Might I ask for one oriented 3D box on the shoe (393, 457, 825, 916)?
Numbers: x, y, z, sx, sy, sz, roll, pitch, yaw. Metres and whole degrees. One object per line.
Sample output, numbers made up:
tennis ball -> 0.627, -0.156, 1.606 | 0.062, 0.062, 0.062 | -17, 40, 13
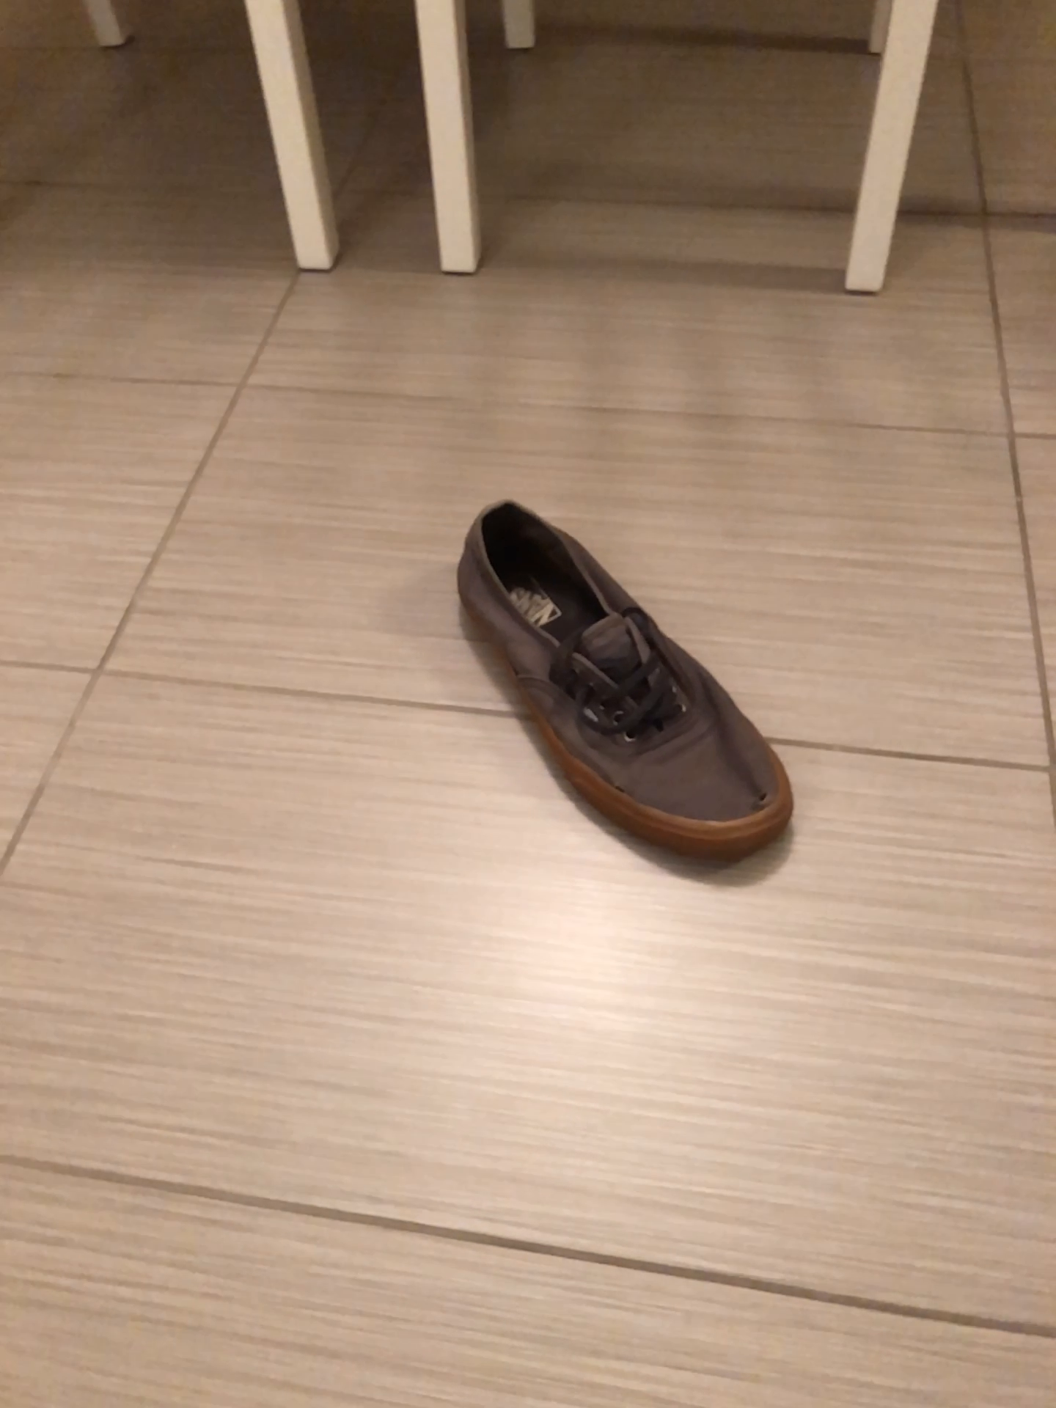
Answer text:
shoe -> 0.036, -0.025, 0.696 | 0.110, 0.060, 0.291 | -26, 54, -15
